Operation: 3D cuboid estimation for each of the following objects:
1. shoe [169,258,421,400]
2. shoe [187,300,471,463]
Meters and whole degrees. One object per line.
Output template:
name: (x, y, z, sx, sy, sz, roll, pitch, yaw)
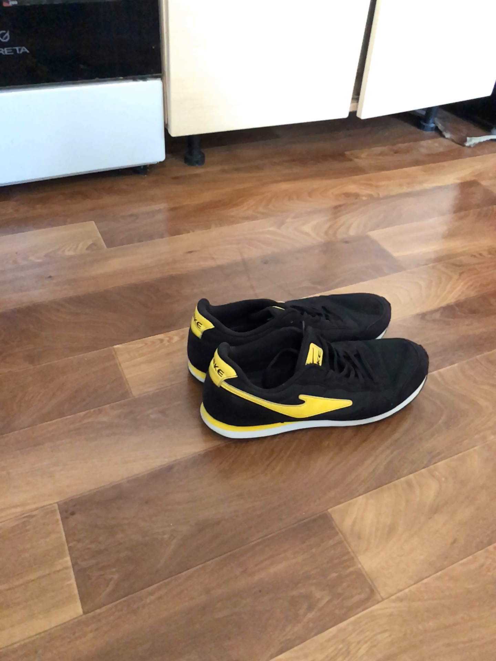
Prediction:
shoe: (0.059, -0.009, 0.713, 0.300, 0.079, 0.111, -11, 43, -17)
shoe: (0.089, 0.052, 0.637, 0.300, 0.079, 0.111, -10, 43, -16)
